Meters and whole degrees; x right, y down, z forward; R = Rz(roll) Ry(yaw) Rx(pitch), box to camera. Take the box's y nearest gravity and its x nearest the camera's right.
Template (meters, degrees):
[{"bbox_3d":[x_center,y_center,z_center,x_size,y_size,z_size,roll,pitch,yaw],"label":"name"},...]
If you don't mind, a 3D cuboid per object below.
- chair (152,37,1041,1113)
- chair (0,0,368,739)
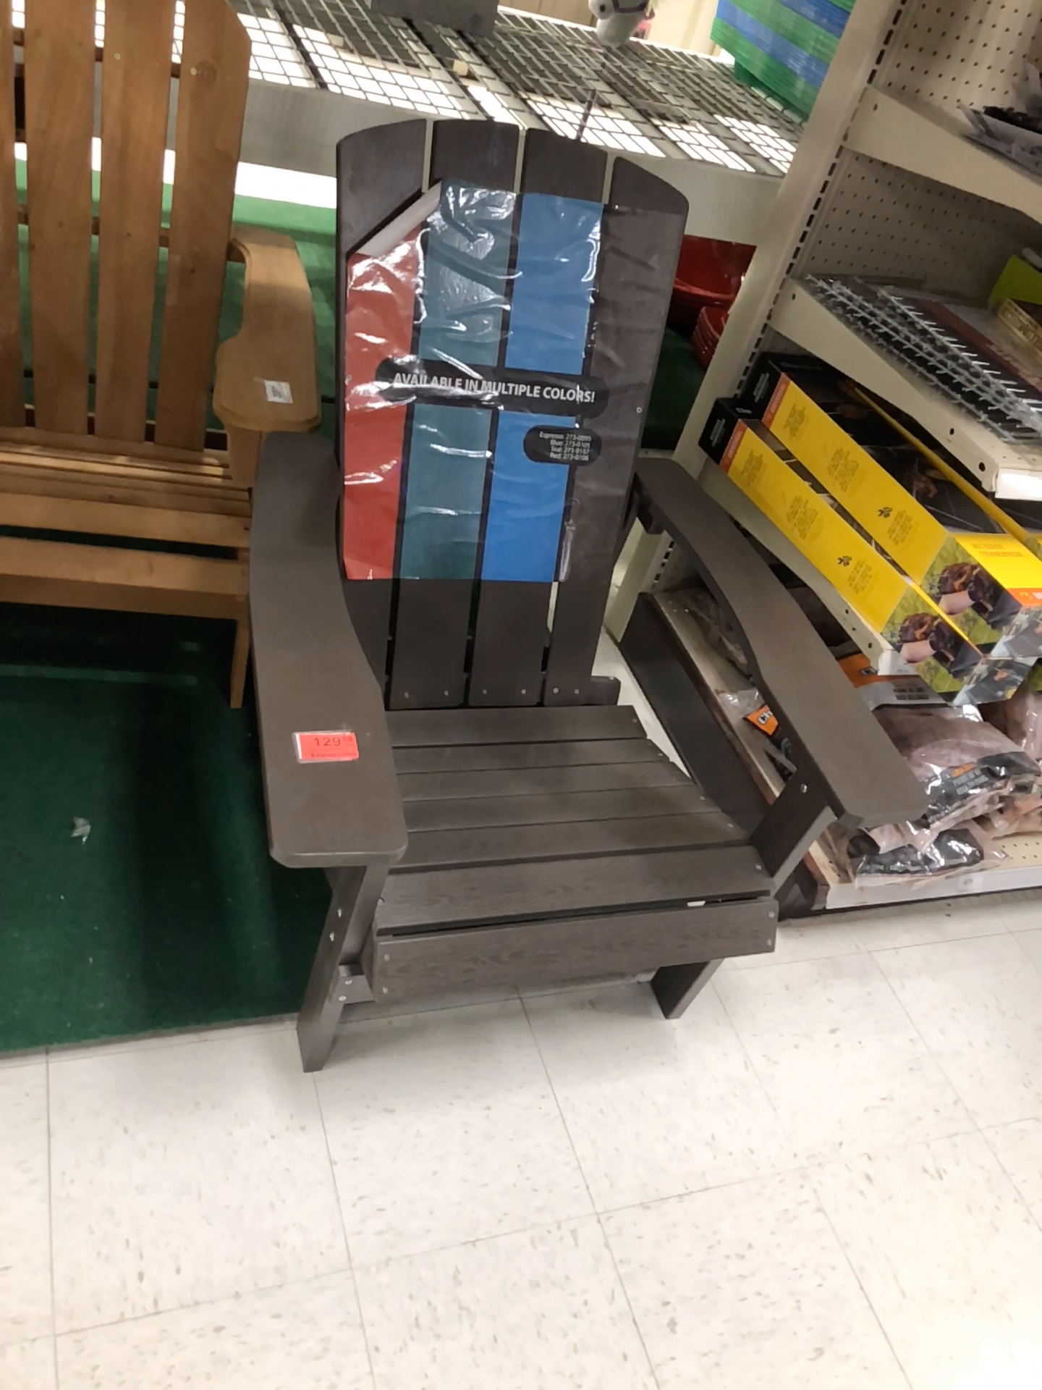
[{"bbox_3d":[-0.030,-0.164,1.429,0.718,0.816,0.918,-1,44,-23],"label":"chair"},{"bbox_3d":[-0.666,-0.593,1.678,0.638,0.846,0.978,3,42,-19],"label":"chair"}]
